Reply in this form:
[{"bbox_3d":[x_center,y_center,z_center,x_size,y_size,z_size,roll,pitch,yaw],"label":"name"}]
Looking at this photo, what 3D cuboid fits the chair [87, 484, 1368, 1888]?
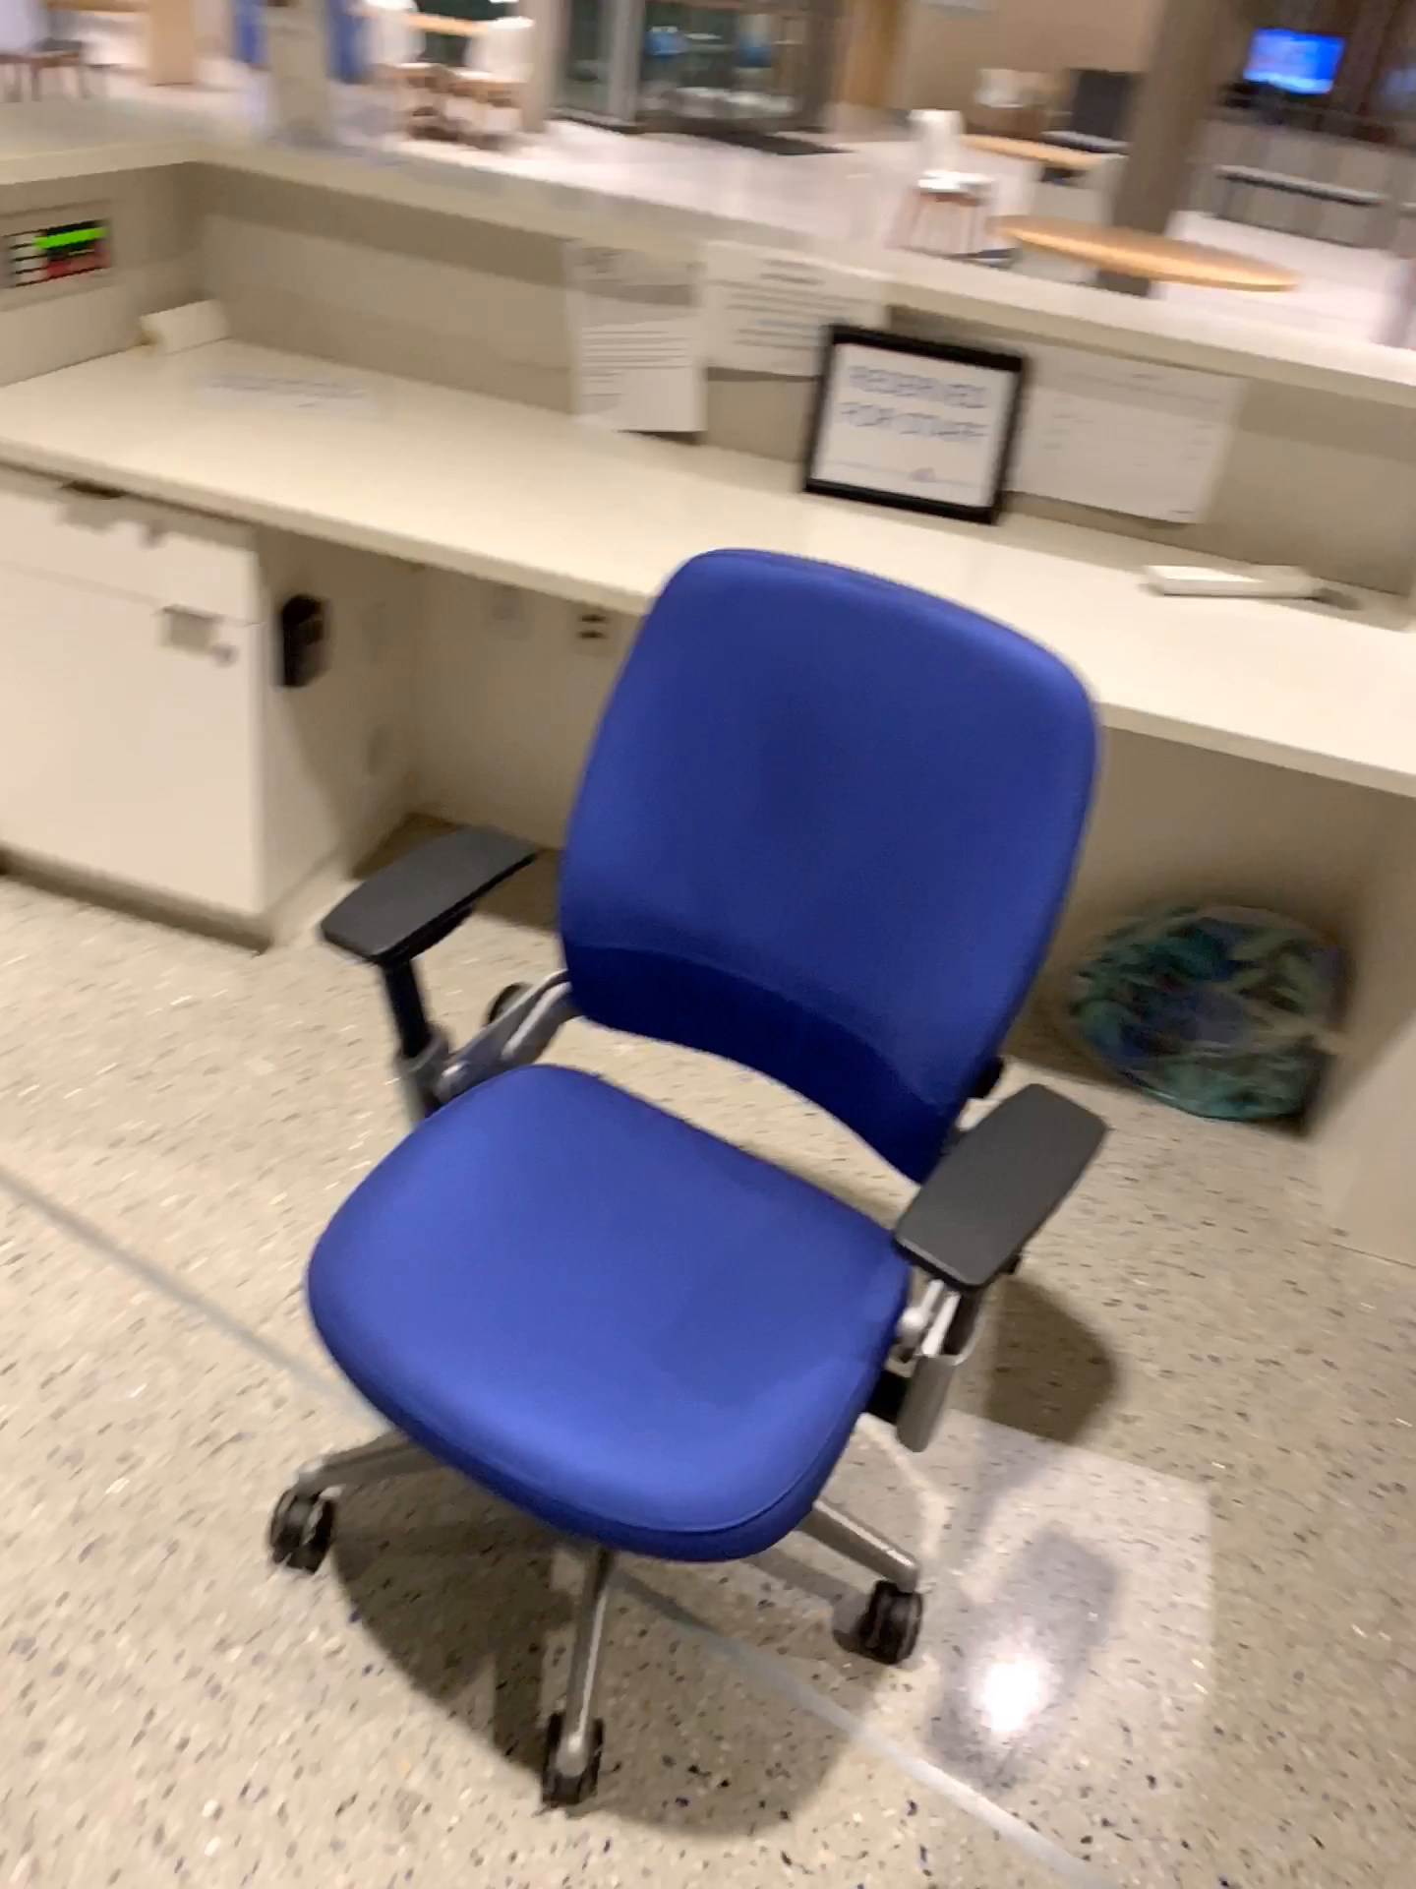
[{"bbox_3d":[0.008,0.191,1.256,0.687,0.879,0.652,24,35,20],"label":"chair"}]
